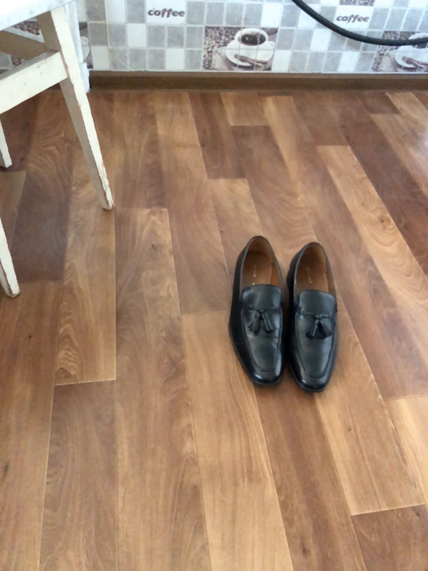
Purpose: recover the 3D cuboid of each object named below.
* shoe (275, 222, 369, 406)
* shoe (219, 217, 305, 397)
[{"bbox_3d":[0.173,0.039,0.821,0.110,0.119,0.302,6,48,-1],"label":"shoe"},{"bbox_3d":[0.071,0.027,0.822,0.110,0.119,0.302,2,48,-4],"label":"shoe"}]
